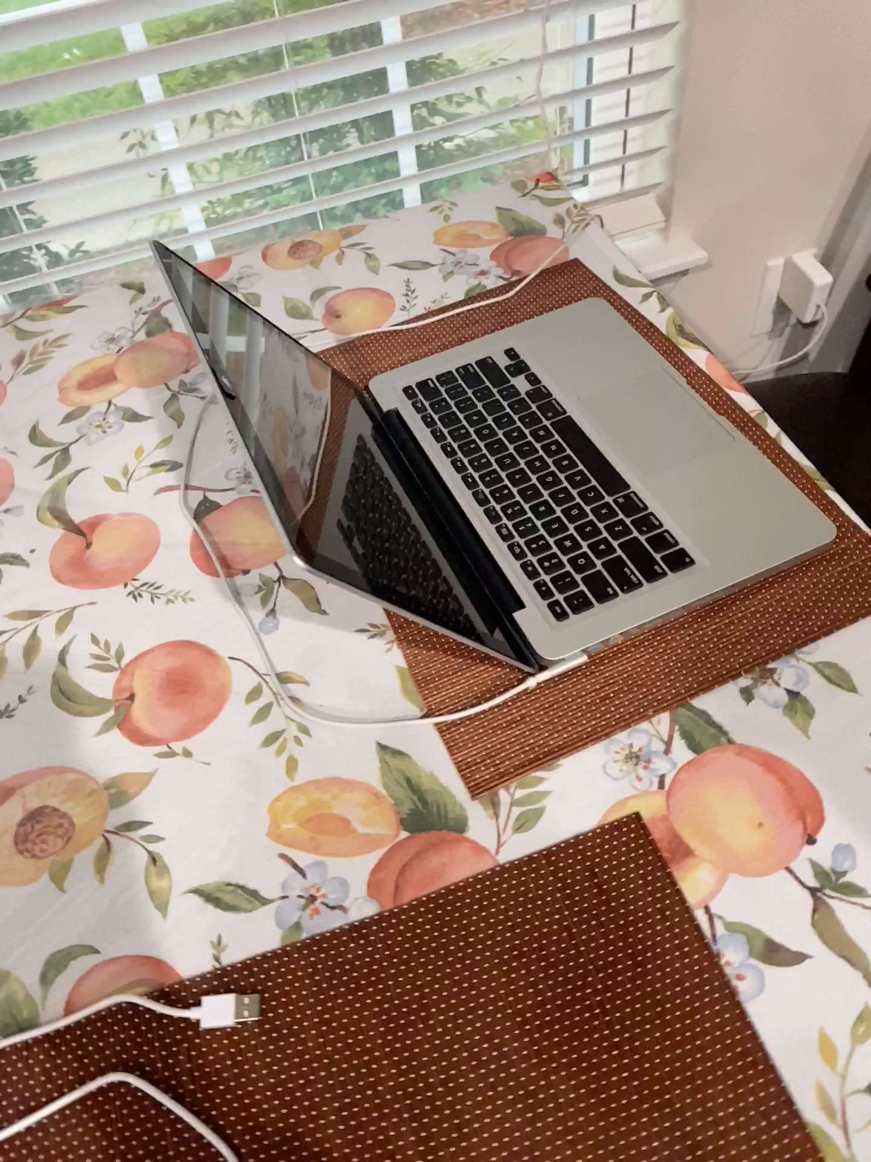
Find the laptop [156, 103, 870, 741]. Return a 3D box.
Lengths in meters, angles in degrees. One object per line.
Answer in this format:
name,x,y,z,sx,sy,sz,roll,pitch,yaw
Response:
laptop,0.044,-0.129,0.596,0.348,0.162,0.318,-22,53,-10
